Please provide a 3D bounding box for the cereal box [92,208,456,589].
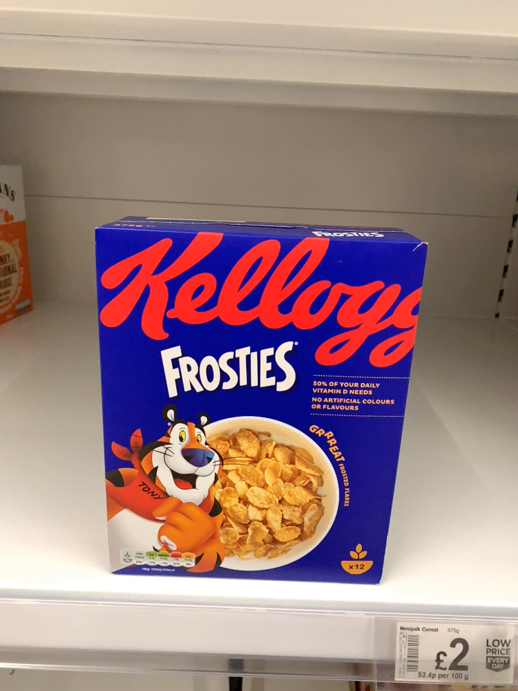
[{"bbox_3d":[0.003,0.036,0.368,0.200,0.238,0.081,3,18,0],"label":"cereal box"}]
